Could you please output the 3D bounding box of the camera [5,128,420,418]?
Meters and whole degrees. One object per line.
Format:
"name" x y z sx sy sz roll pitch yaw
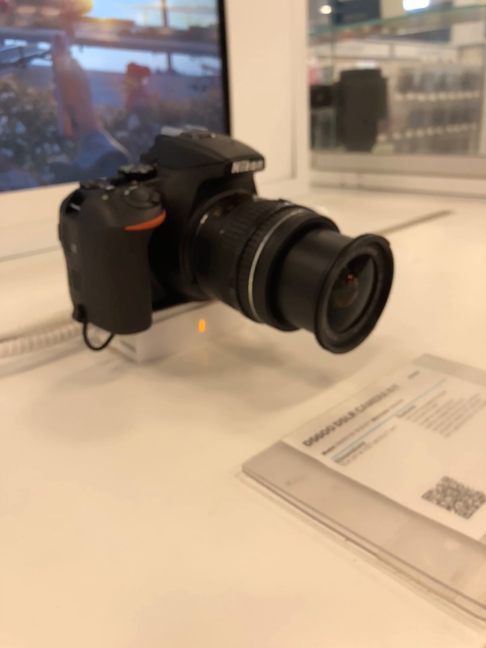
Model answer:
"camera" -0.025 -0.049 0.309 0.190 0.090 0.120 24 33 38
